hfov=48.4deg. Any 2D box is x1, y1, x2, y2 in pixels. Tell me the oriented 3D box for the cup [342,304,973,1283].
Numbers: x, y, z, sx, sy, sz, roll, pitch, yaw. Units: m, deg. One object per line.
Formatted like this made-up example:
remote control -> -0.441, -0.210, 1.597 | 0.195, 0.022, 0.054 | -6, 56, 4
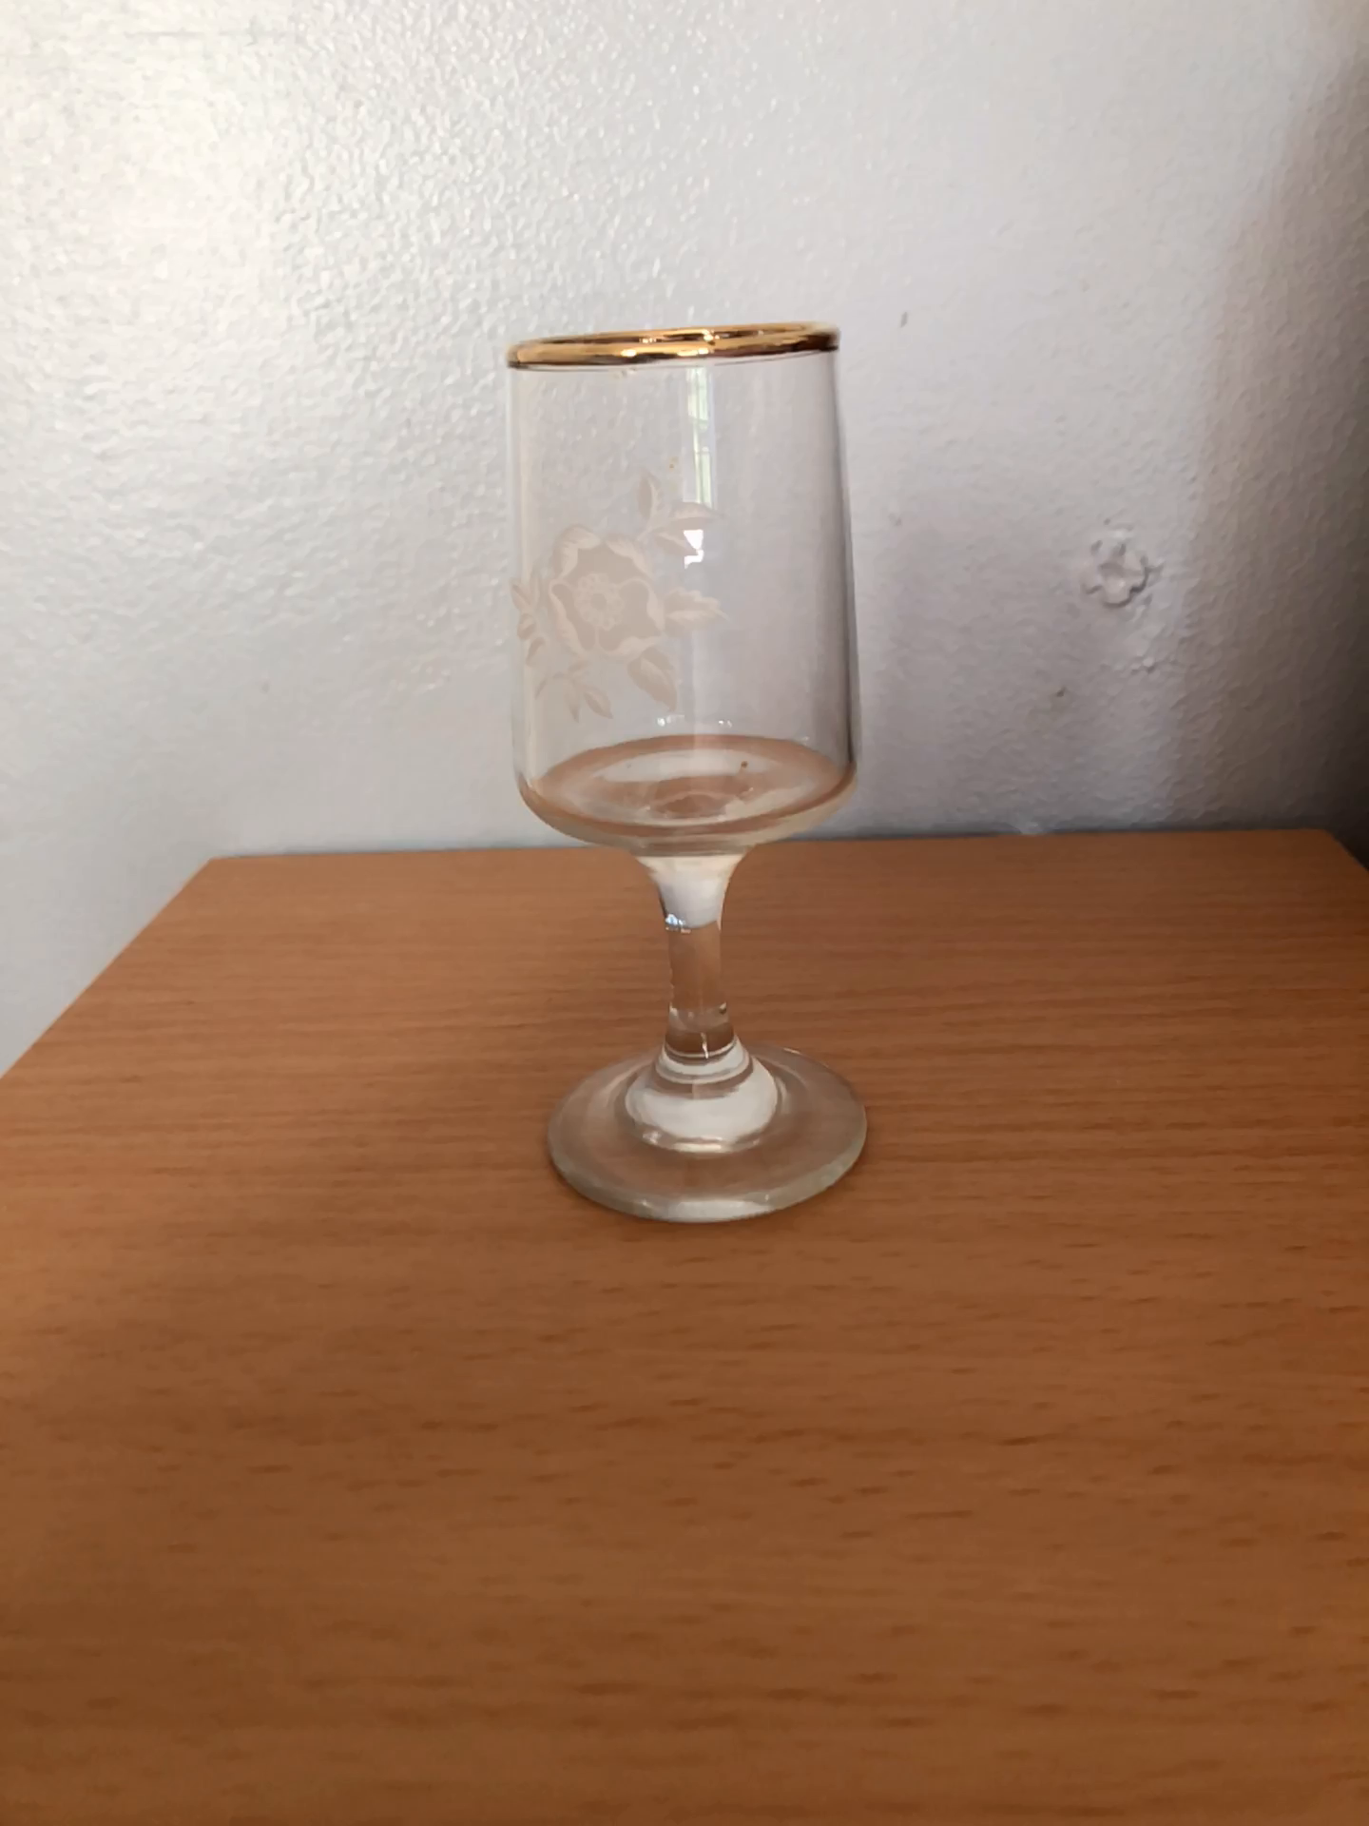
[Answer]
cup -> 0.001, -0.019, 0.198 | 0.052, 0.108, 0.056 | -2, 22, 1
